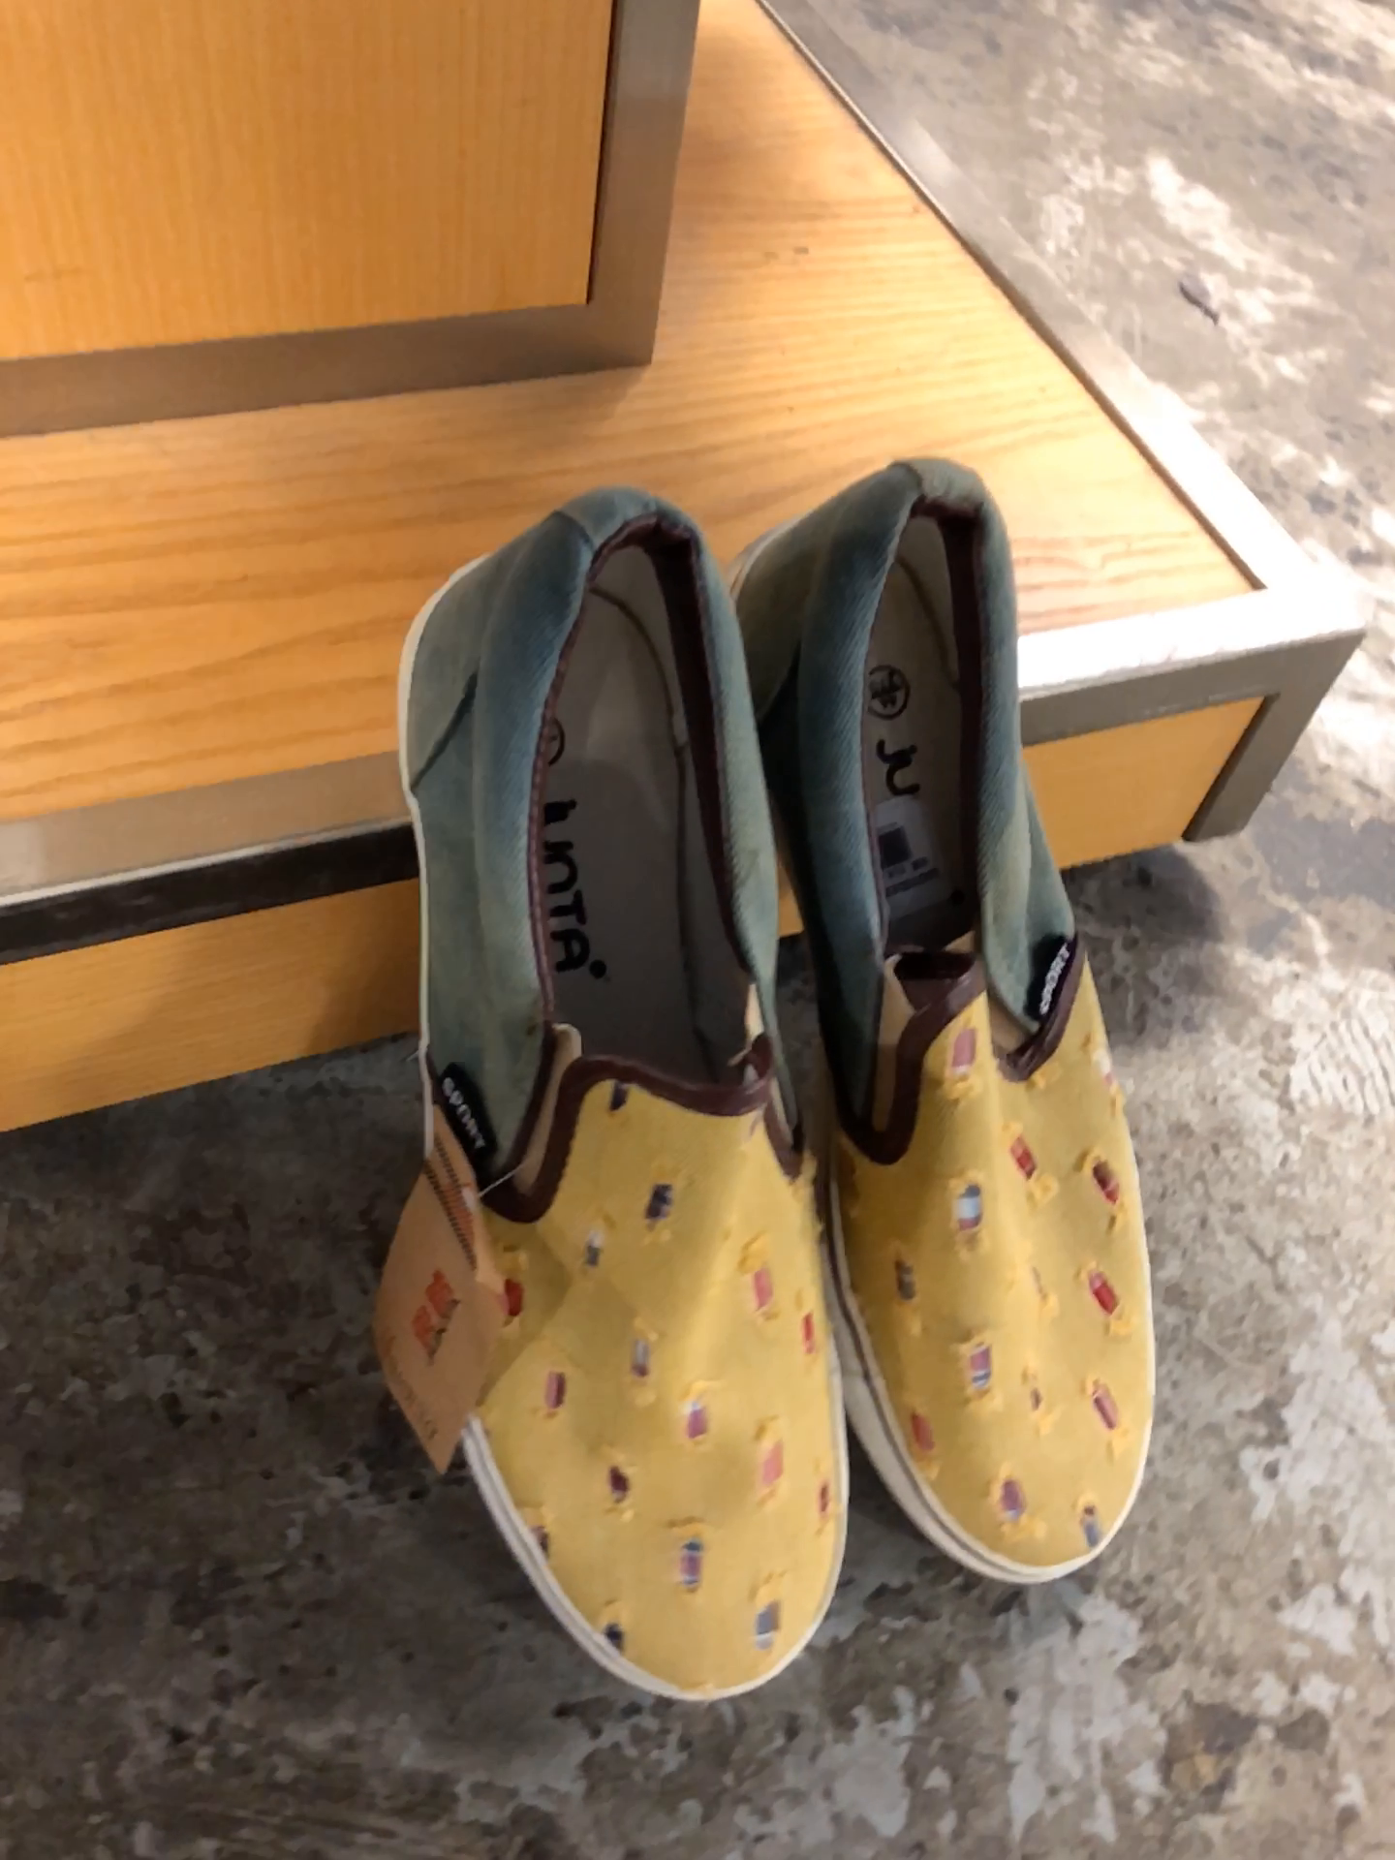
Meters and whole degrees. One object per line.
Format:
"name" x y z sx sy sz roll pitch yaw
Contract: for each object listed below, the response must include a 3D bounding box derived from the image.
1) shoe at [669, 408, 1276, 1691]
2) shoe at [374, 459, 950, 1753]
"shoe" 0.067 0.025 0.388 0.090 0.279 0.100 -11 12 -12
"shoe" -0.013 0.031 0.369 0.090 0.259 0.120 -7 11 -15
